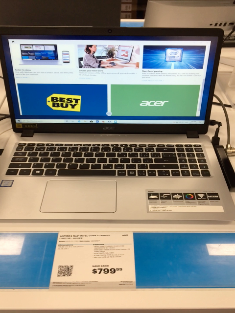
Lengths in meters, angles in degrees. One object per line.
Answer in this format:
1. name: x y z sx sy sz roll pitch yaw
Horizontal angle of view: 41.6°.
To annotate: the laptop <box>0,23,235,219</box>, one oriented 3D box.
1. laptop: -0.019 -0.070 0.518 0.393 0.198 0.300 0 45 -1
